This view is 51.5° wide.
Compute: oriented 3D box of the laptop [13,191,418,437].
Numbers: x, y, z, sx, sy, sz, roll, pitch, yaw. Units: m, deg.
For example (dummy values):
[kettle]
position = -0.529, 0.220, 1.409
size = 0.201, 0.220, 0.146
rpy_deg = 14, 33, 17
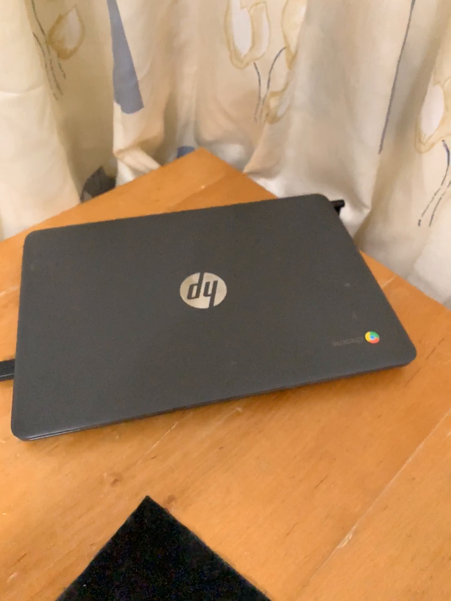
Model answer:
[laptop]
position = -0.018, -0.010, 0.356
size = 0.261, 0.004, 0.186
rpy_deg = -10, 50, -9
